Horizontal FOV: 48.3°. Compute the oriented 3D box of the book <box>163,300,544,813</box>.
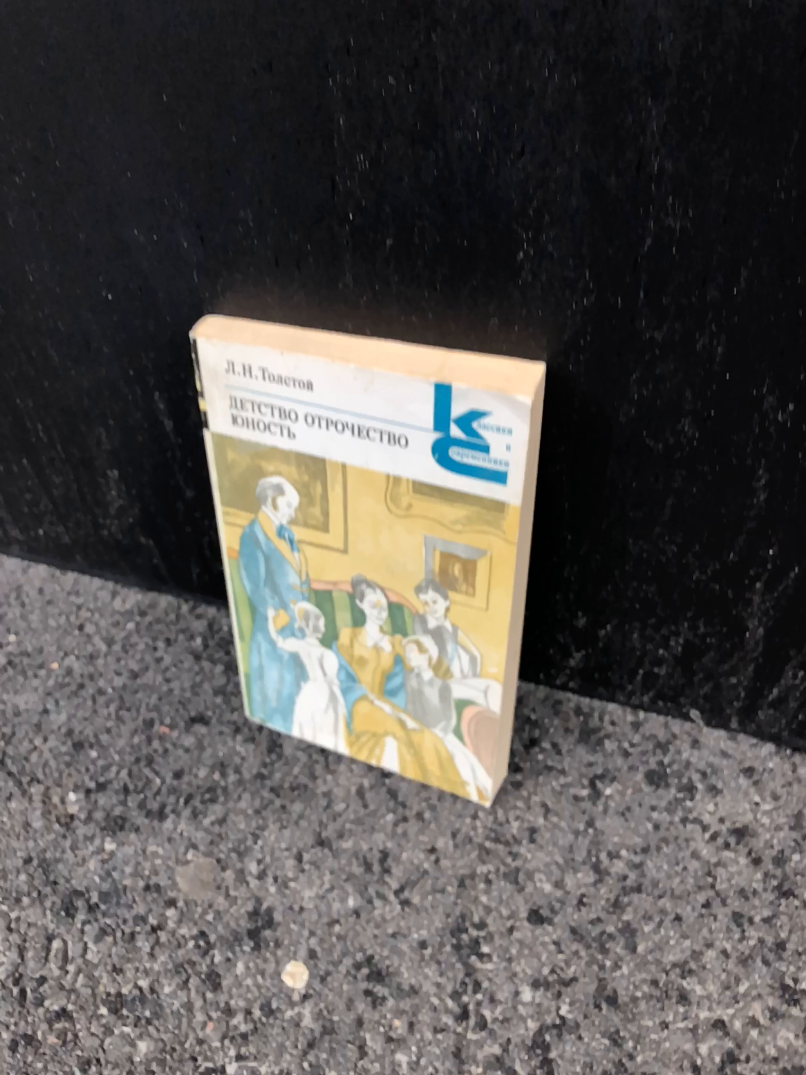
[{"bbox_3d":[-0.019,0.014,0.339,0.120,0.184,0.030,15,38,18],"label":"book"}]
